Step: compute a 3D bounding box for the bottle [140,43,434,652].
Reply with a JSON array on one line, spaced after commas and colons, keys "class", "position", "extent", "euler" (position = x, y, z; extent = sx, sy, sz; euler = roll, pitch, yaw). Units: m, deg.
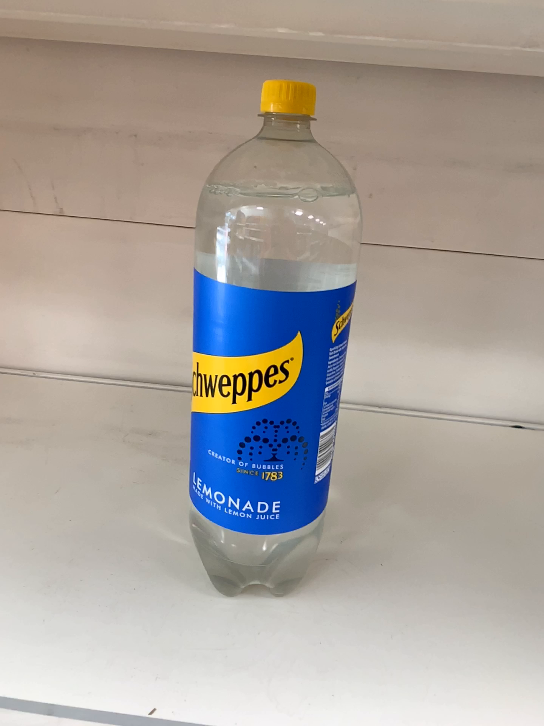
[{"class": "bottle", "position": [0.000, -0.006, 0.351], "extent": [0.110, 0.327, 0.111], "euler": [4, 22, -2]}]
